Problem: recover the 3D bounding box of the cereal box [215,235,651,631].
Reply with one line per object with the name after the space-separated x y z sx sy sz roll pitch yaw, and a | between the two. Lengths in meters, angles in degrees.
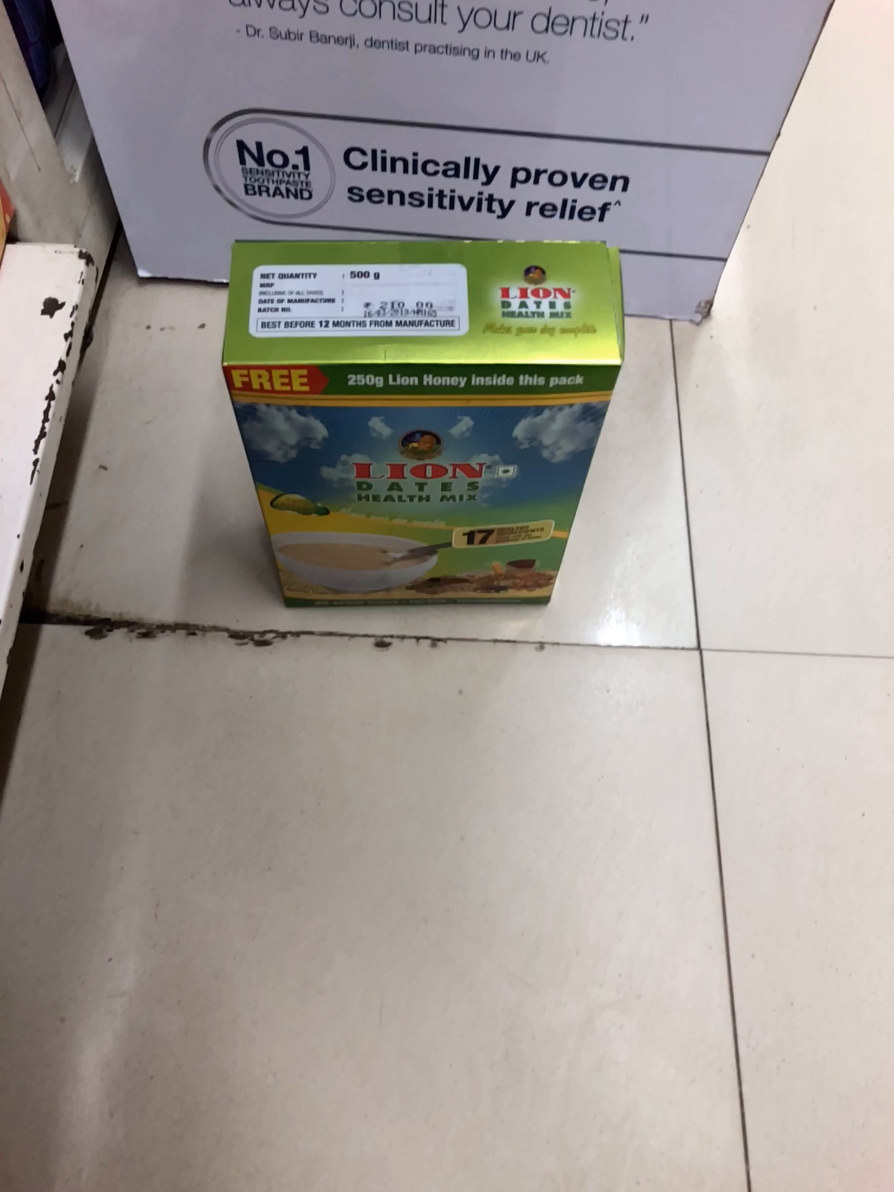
-0.007 -0.055 0.412 0.140 0.179 0.070 0 63 -2 | cereal box
